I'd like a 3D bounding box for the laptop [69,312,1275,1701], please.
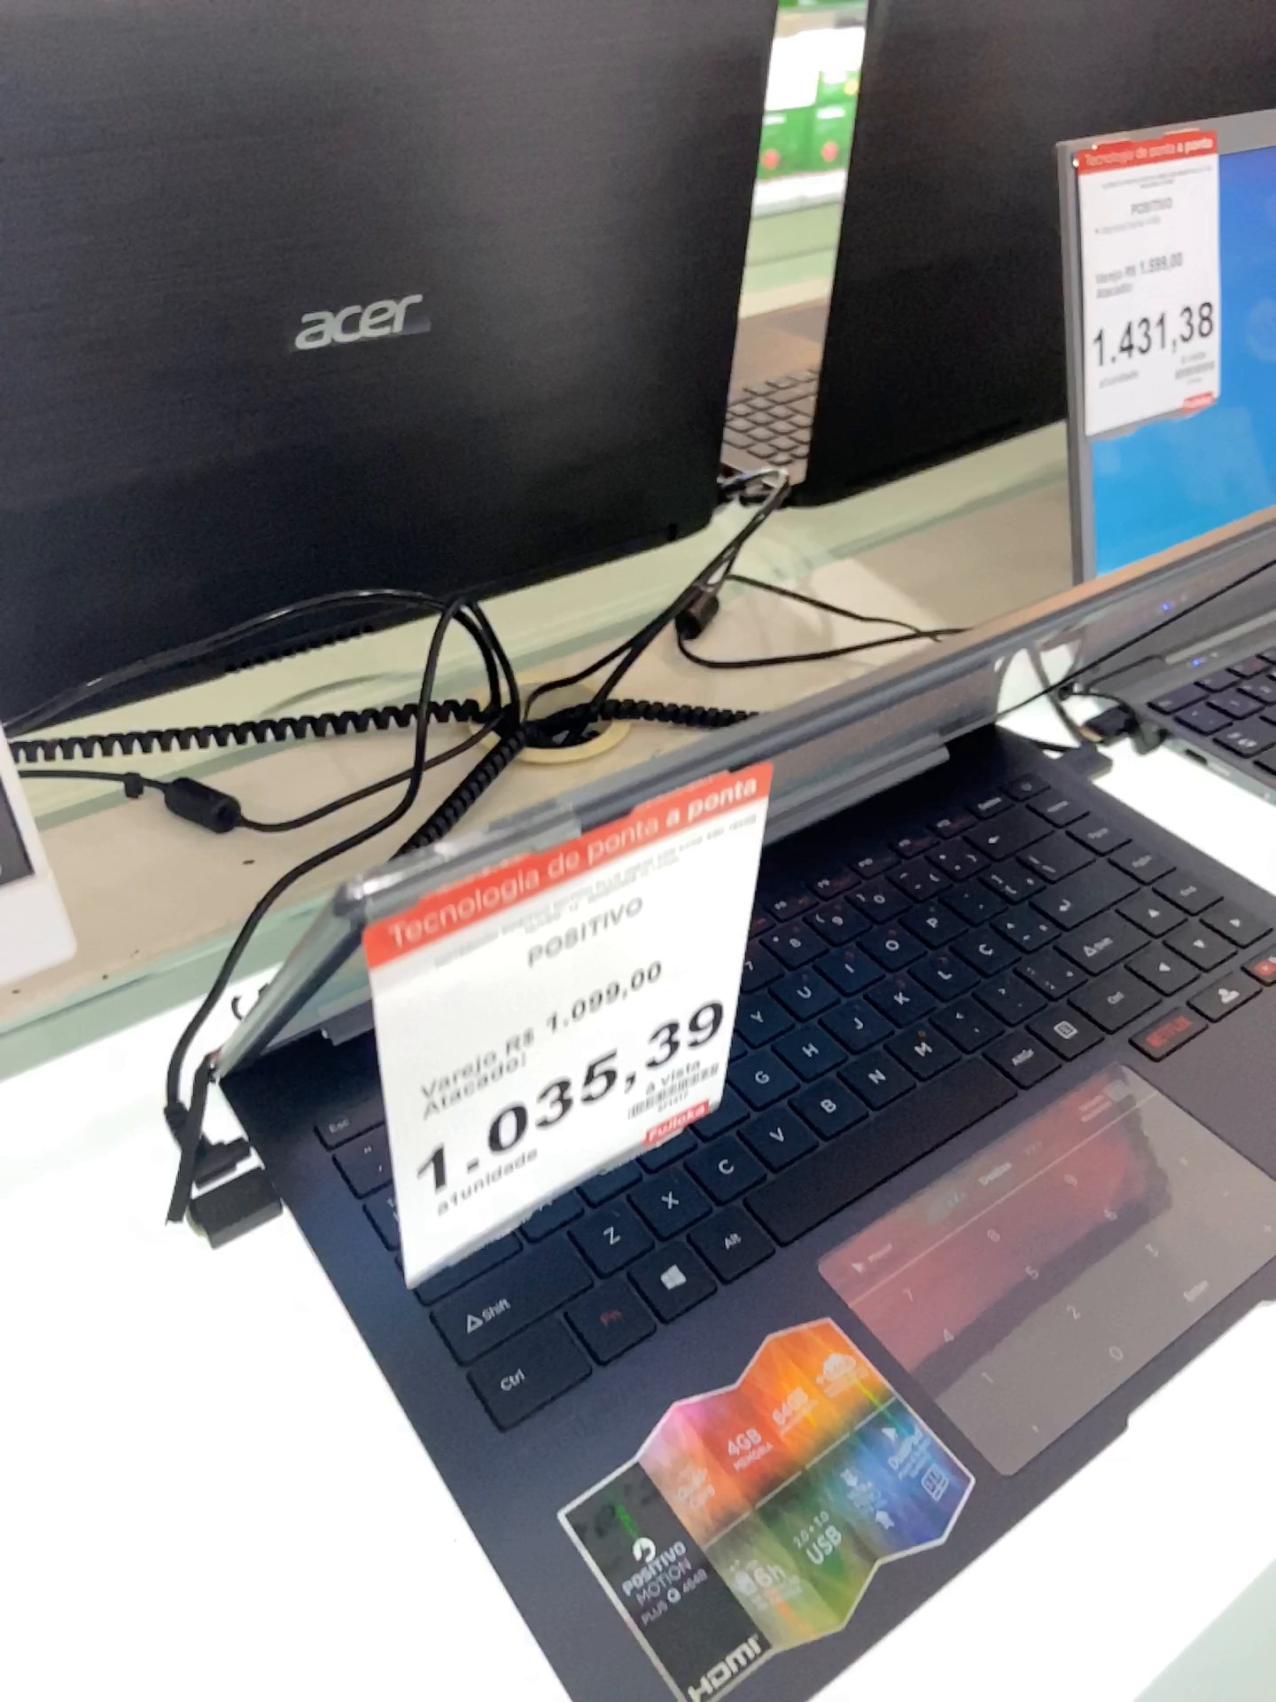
[{"bbox_3d":[0.075,0.000,0.348,0.334,0.163,0.222,-23,45,-27],"label":"laptop"}]
